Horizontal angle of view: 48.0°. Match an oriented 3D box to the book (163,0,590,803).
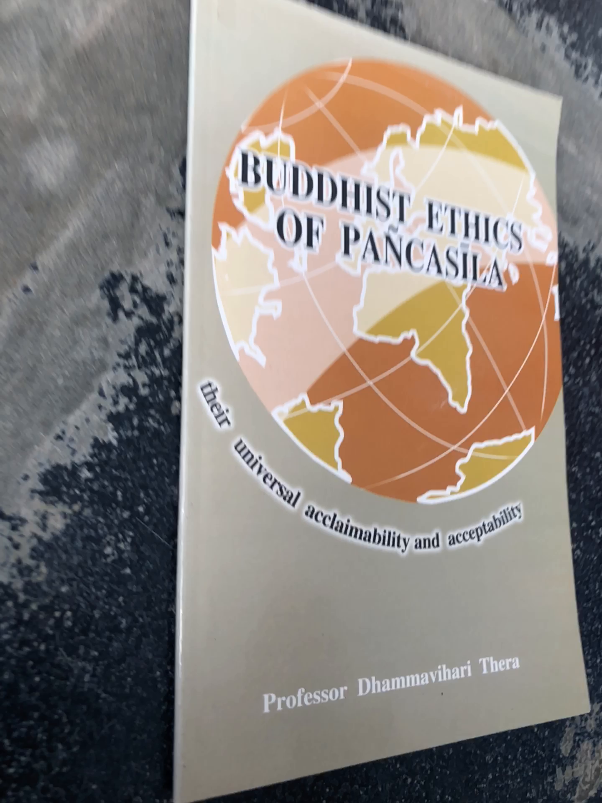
[{"bbox_3d":[0.029,-0.013,0.203,0.141,0.010,0.220,3,81,-30],"label":"book"}]
